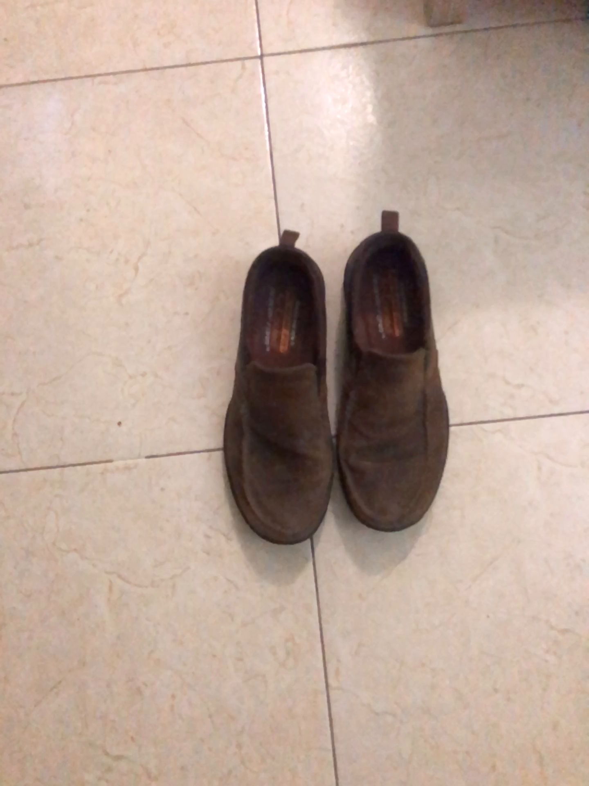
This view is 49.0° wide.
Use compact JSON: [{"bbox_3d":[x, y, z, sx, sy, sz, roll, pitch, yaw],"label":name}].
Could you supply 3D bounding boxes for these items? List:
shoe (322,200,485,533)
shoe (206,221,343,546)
[{"bbox_3d":[0.097,-0.021,0.629,0.130,0.100,0.300,-2,81,2],"label":"shoe"},{"bbox_3d":[-0.014,-0.007,0.639,0.120,0.100,0.300,1,81,2],"label":"shoe"}]
